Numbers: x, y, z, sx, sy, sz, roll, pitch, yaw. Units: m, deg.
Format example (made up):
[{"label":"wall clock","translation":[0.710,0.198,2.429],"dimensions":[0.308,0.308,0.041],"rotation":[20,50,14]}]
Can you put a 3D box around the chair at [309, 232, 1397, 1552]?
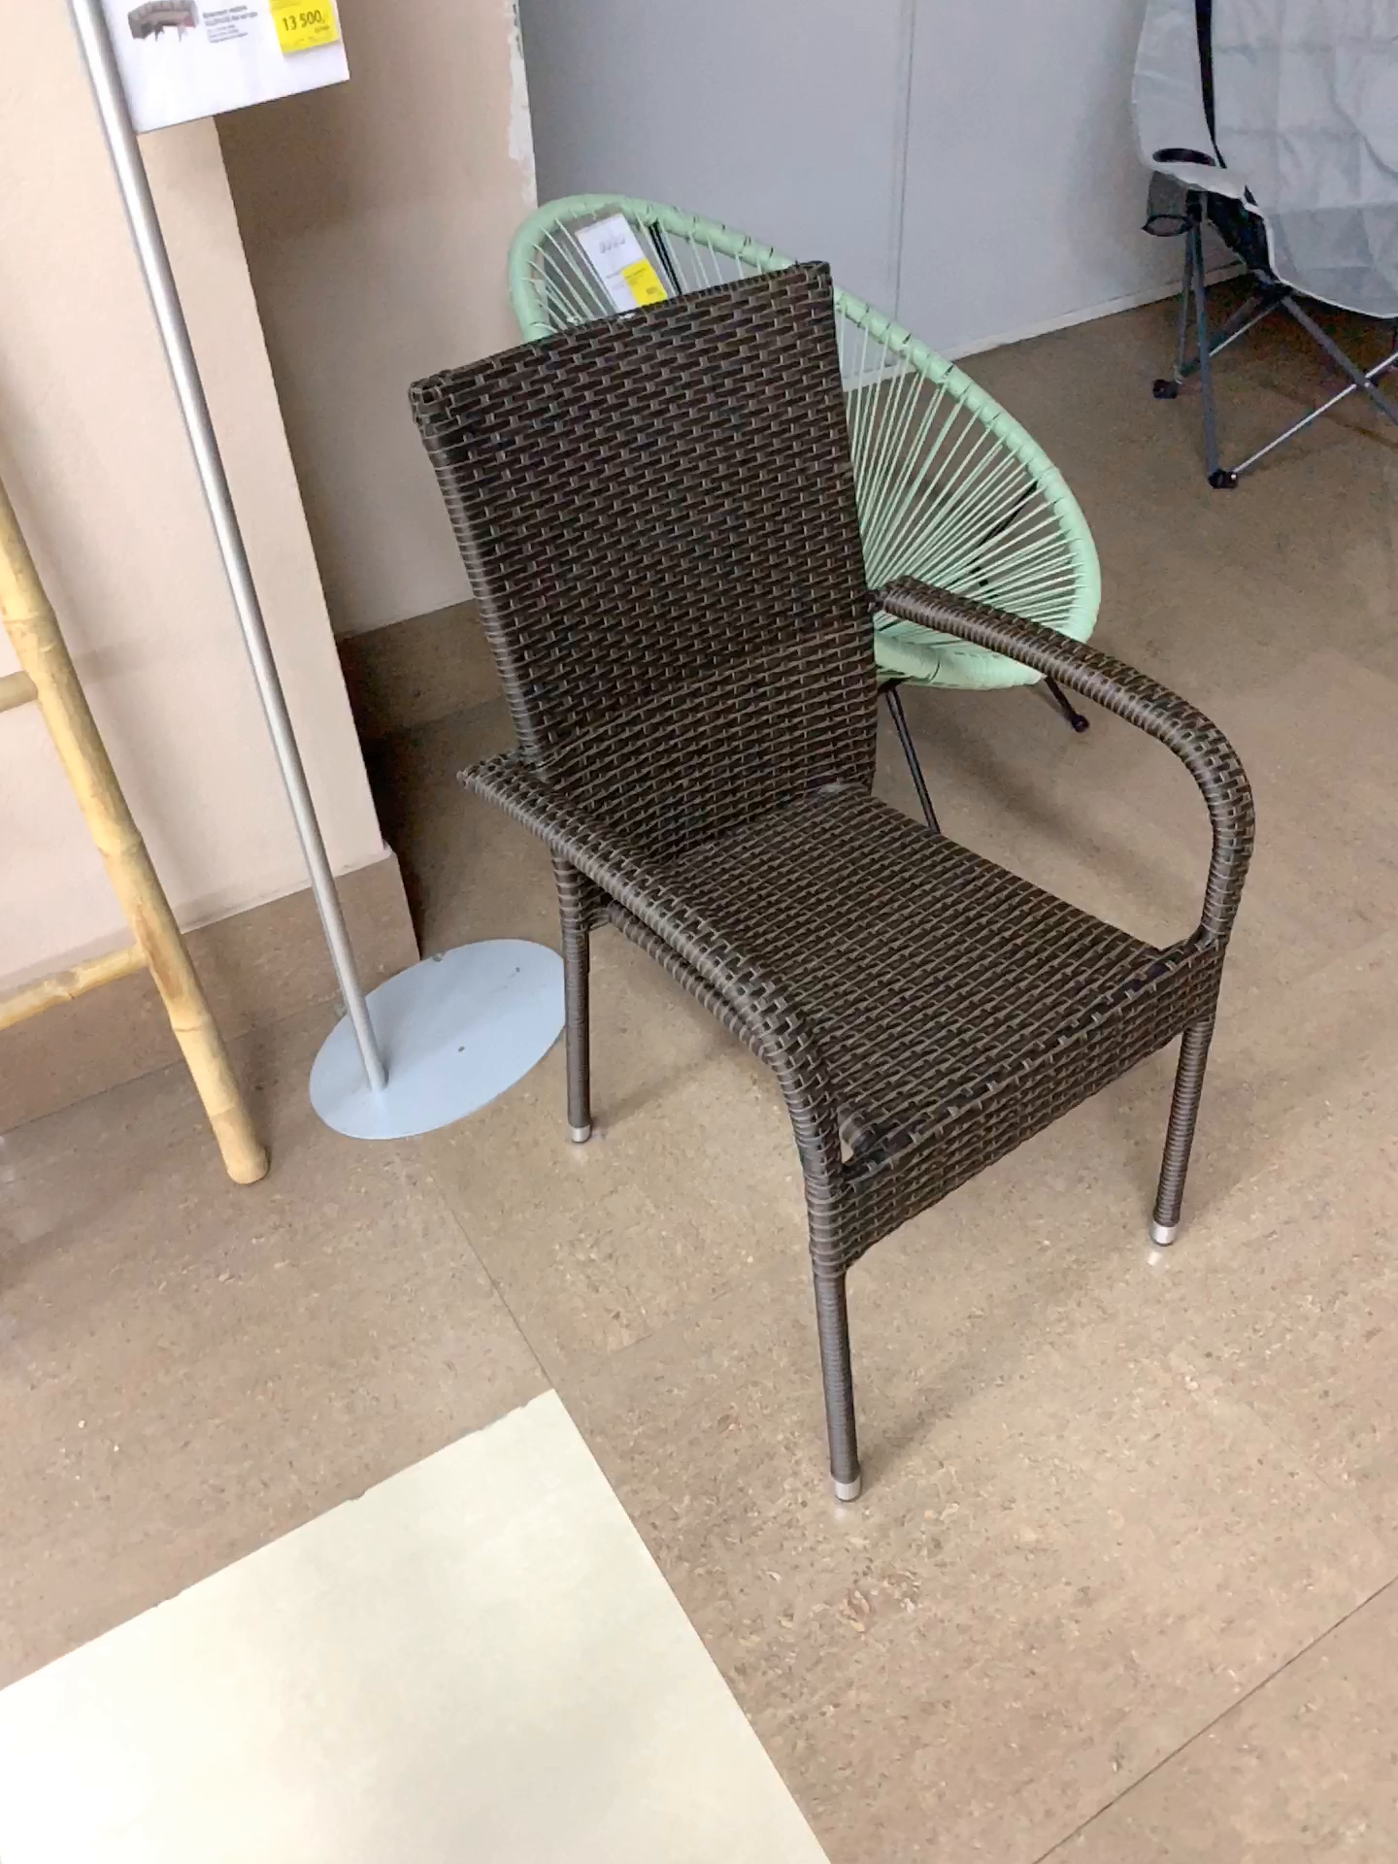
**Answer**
[{"label":"chair","translation":[0.146,-0.051,1.432],"dimensions":[0.621,0.956,0.682],"rotation":[-28,47,-25]}]
